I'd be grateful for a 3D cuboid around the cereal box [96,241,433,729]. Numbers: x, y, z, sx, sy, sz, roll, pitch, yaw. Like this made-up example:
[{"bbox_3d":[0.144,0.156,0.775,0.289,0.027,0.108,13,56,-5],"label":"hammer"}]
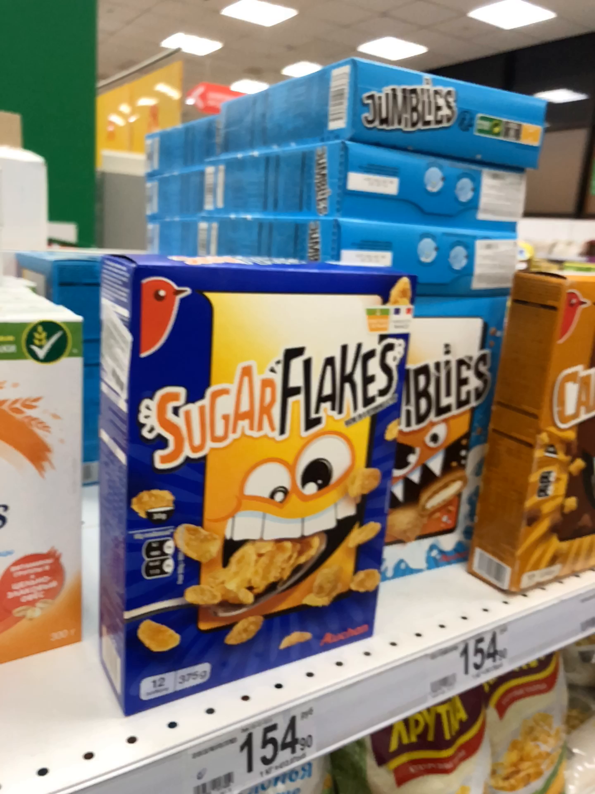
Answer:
[{"bbox_3d":[-0.024,0.046,0.444,0.200,0.279,0.070,-4,16,-32],"label":"cereal box"}]
